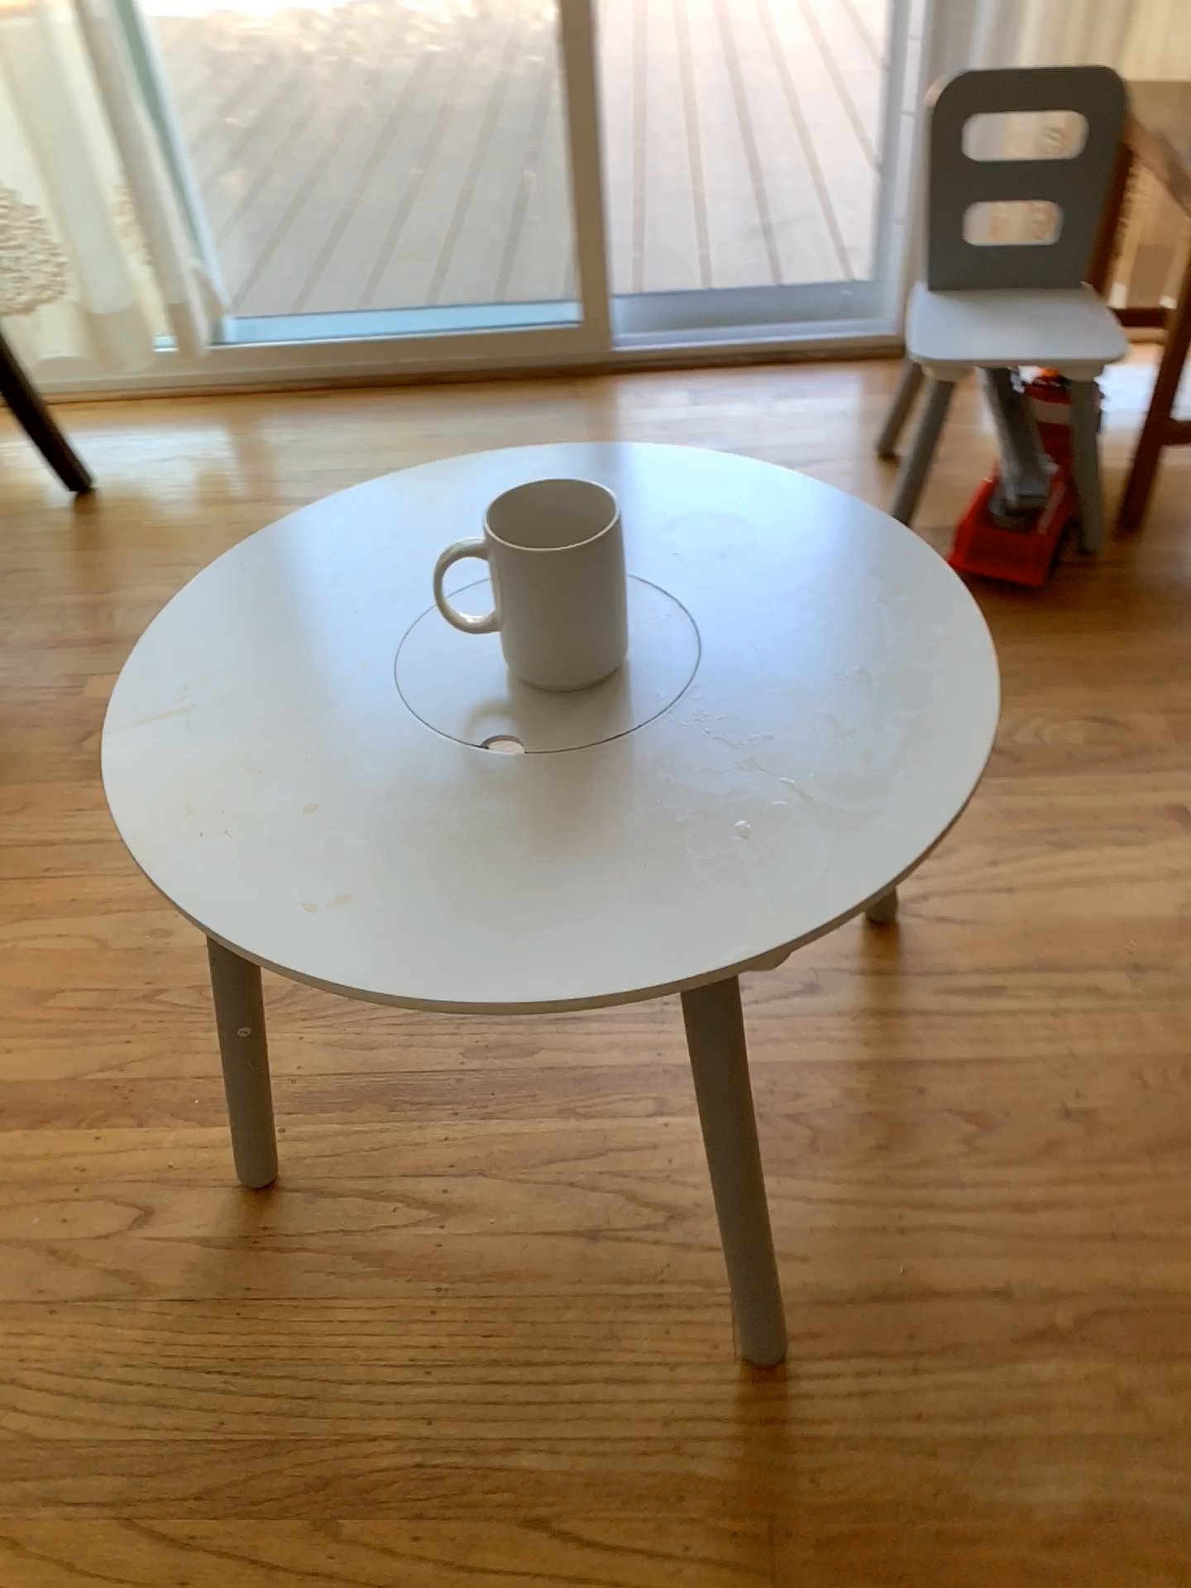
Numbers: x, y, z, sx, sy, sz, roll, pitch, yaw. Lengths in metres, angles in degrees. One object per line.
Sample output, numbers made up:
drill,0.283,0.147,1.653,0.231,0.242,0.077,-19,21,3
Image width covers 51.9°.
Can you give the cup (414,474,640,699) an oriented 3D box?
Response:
cup,-0.041,-0.135,0.793,0.130,0.090,0.111,-4,43,2
